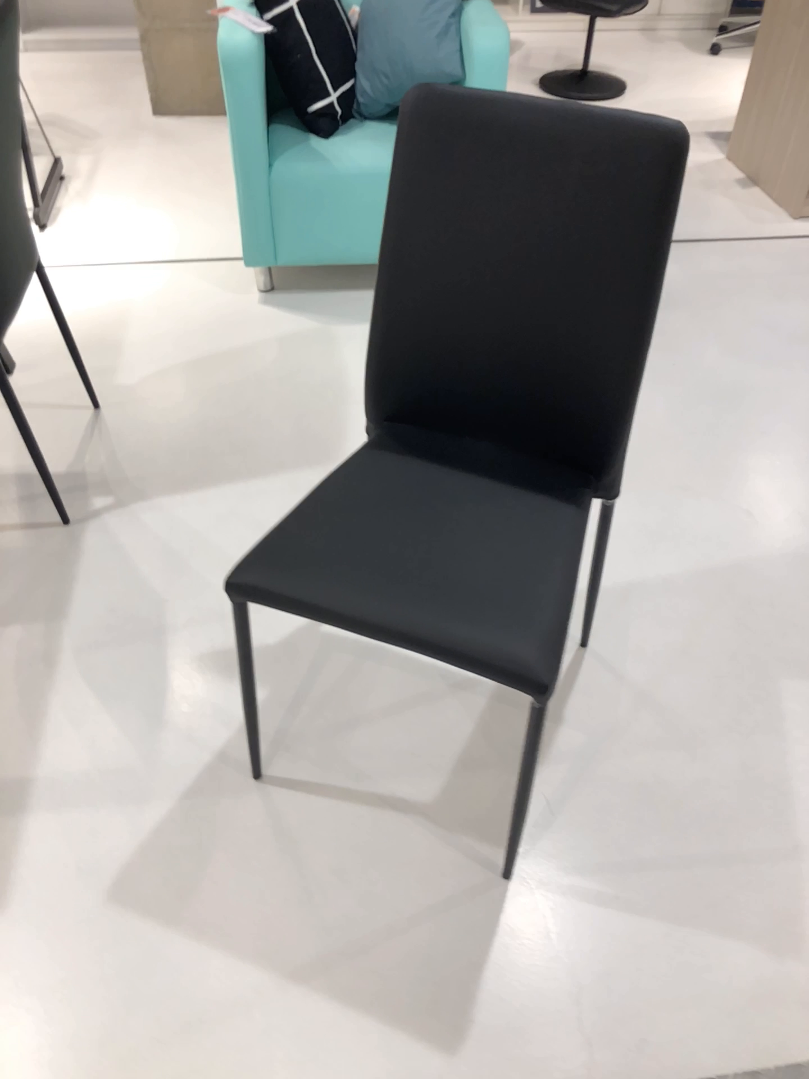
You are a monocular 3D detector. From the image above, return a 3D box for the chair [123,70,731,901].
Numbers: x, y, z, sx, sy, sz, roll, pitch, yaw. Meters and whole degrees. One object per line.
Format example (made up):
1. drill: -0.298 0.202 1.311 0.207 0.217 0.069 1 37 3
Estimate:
1. chair: 0.070 -0.063 1.212 0.450 0.863 0.604 15 44 15
